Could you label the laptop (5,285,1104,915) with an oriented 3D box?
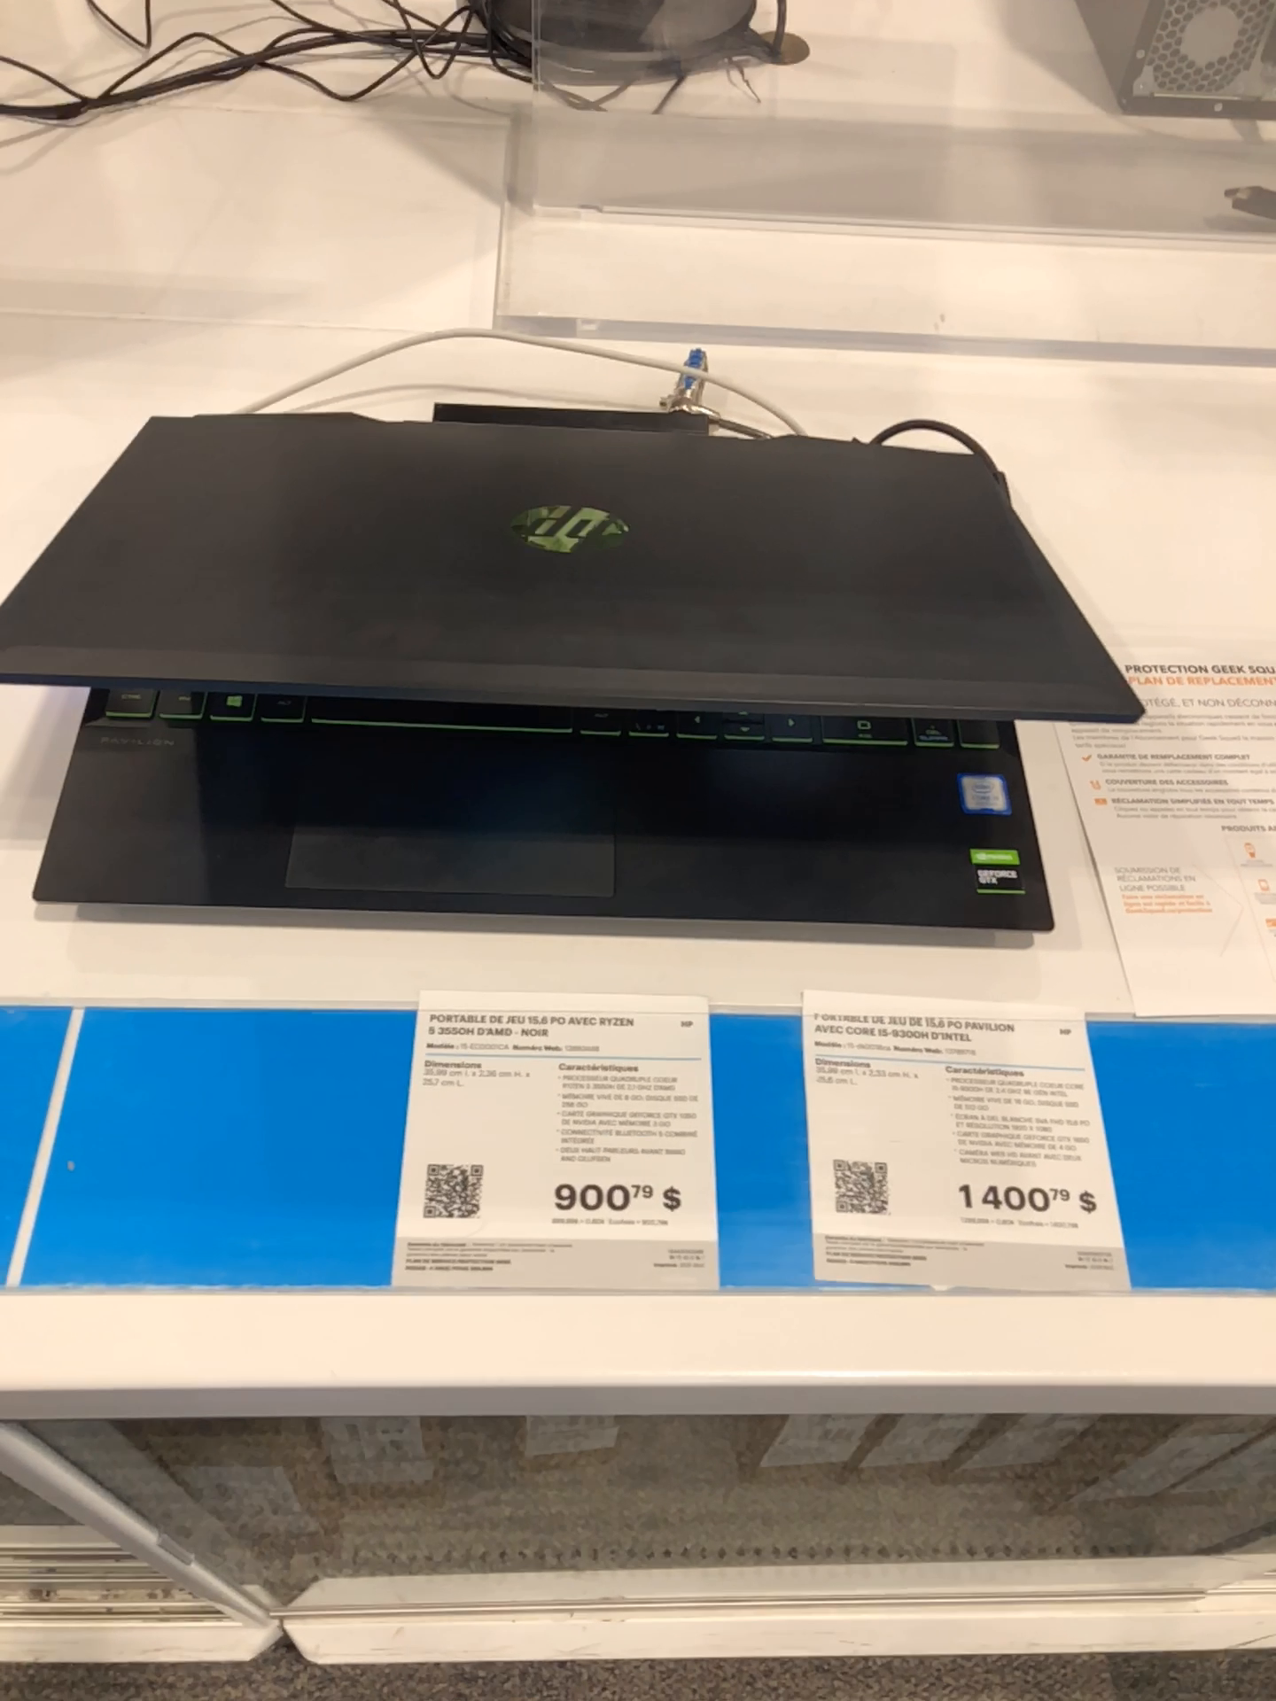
[{"bbox_3d":[-0.023,-0.095,0.514,0.339,0.064,0.221,1,61,-4],"label":"laptop"}]
